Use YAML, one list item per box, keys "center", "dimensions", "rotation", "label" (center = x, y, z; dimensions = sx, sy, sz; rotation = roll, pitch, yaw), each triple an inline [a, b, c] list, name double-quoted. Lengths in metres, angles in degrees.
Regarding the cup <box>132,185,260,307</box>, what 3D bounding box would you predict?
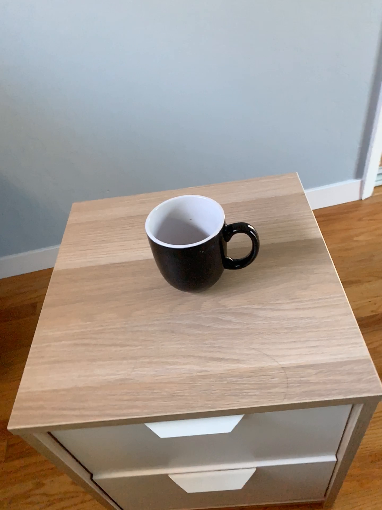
- center: [0.016, -0.011, 0.514]
  dimensions: [0.140, 0.119, 0.100]
  rotation: [0, 46, 12]
  label: "cup"
